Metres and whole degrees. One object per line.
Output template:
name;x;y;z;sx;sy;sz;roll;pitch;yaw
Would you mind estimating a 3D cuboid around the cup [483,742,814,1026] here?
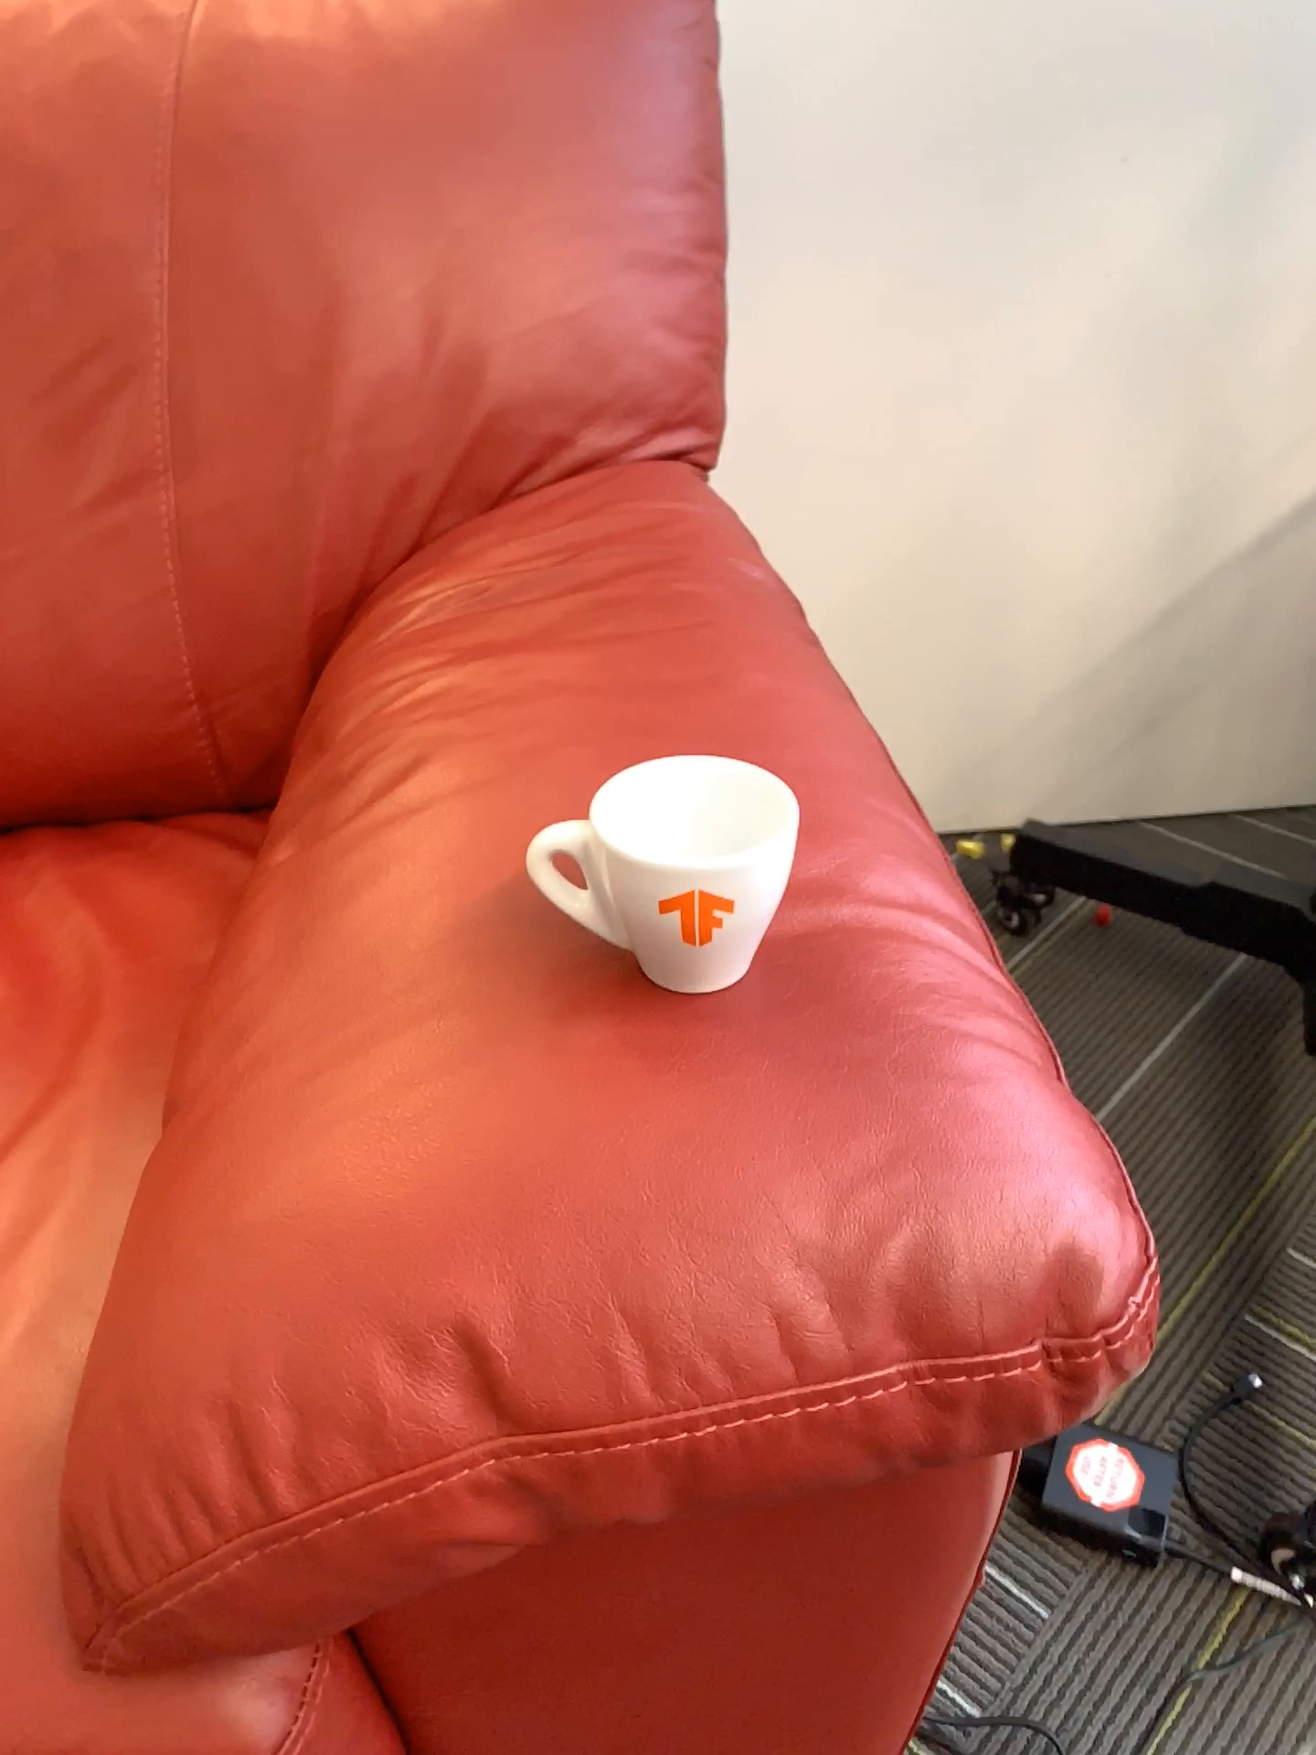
cup;0.001;0.001;0.416;0.090;0.060;0.060;2;37;8
